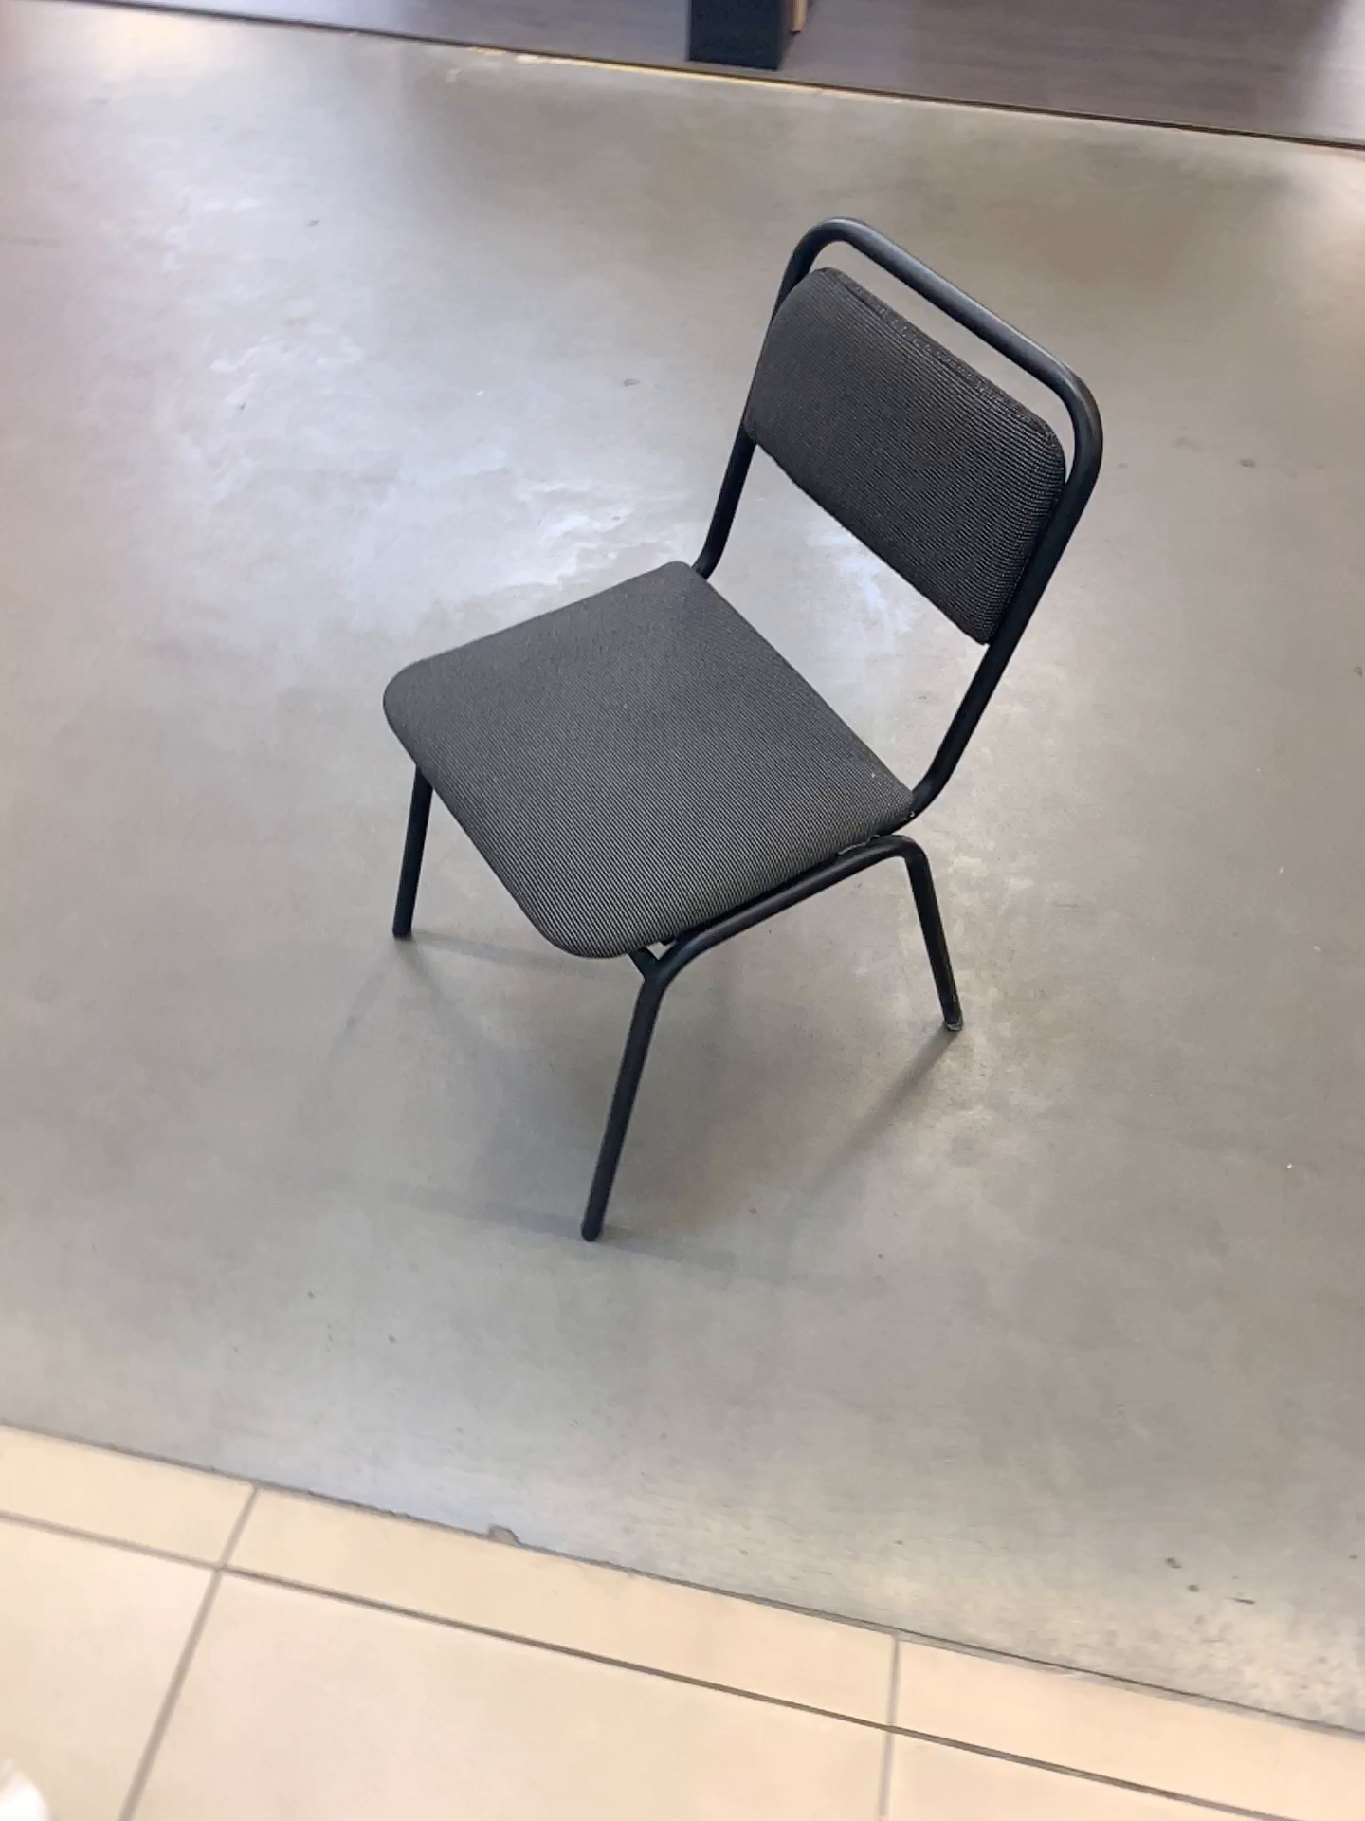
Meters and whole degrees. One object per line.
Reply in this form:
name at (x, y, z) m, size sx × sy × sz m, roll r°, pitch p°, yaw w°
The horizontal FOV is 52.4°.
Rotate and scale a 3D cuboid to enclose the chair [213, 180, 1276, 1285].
chair at (0.026, -0.160, 1.371) m, size 0.630 × 0.737 × 0.551 m, roll -25°, pitch 57°, yaw -20°
